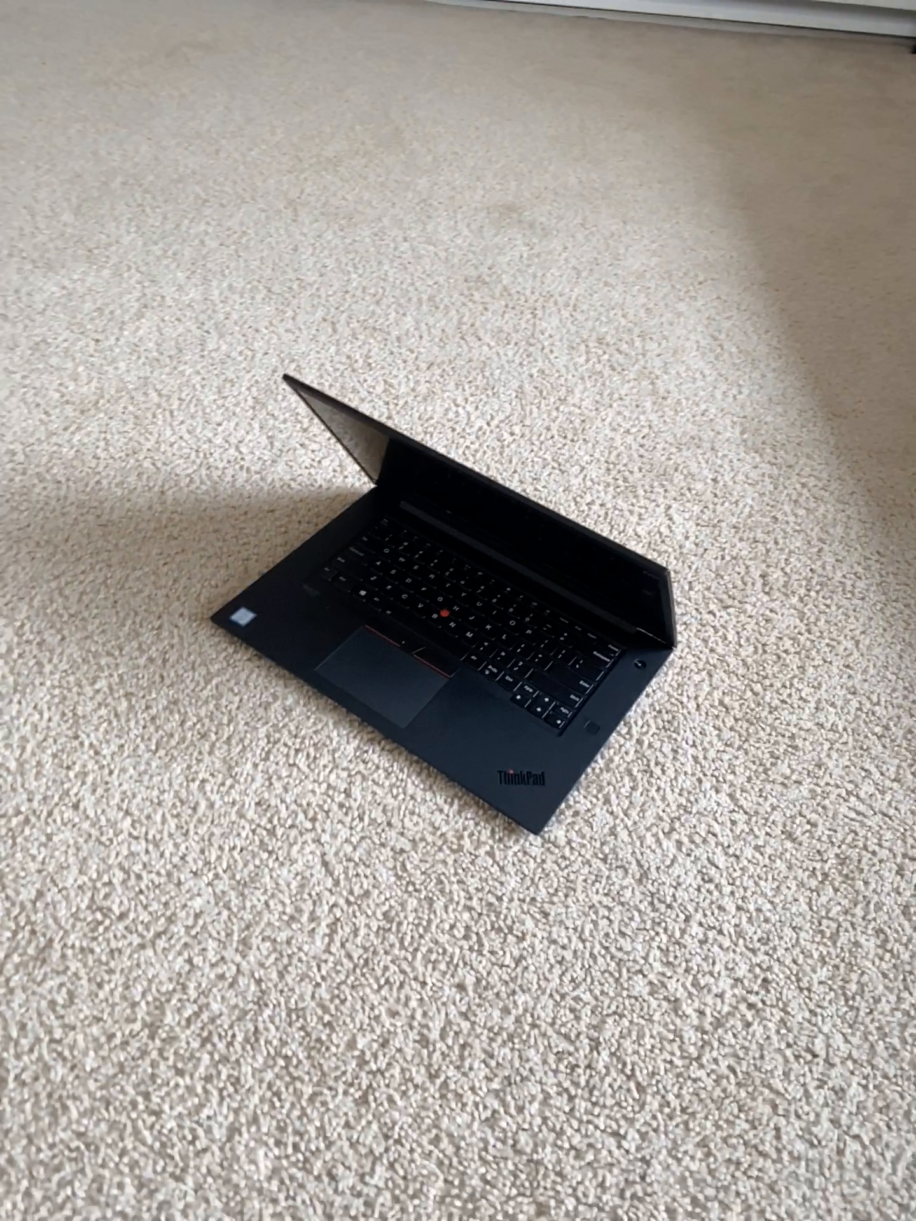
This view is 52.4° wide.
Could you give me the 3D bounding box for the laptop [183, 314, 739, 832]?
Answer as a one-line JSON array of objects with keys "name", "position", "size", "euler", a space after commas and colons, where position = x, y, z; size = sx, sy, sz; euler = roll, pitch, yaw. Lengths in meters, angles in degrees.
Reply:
[{"name": "laptop", "position": [-0.003, -0.048, 0.791], "size": [0.355, 0.198, 0.244], "euler": [30, 52, 20]}]
